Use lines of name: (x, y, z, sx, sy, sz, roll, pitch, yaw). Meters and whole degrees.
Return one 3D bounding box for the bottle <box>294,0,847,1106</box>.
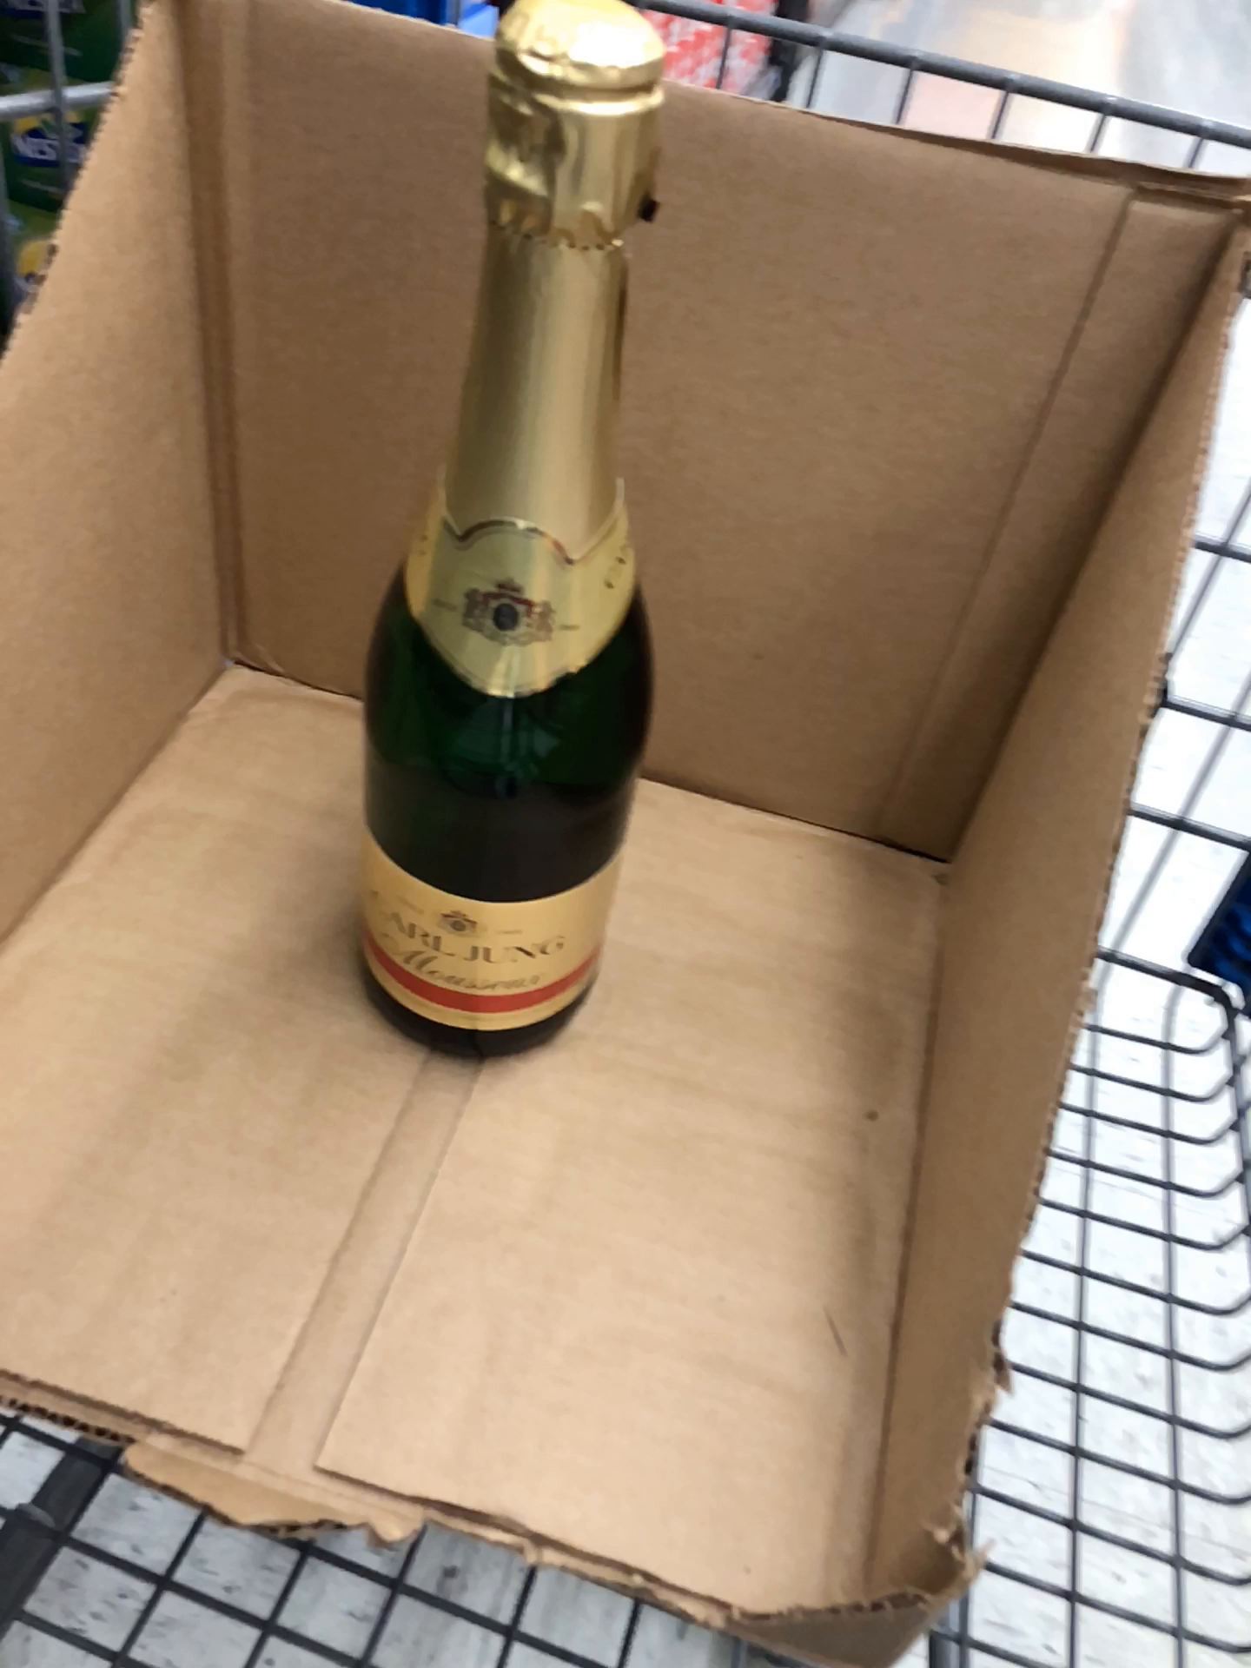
bottle: (-0.028, -0.060, 0.359, 0.090, 0.288, 0.081, 15, 41, 3)
